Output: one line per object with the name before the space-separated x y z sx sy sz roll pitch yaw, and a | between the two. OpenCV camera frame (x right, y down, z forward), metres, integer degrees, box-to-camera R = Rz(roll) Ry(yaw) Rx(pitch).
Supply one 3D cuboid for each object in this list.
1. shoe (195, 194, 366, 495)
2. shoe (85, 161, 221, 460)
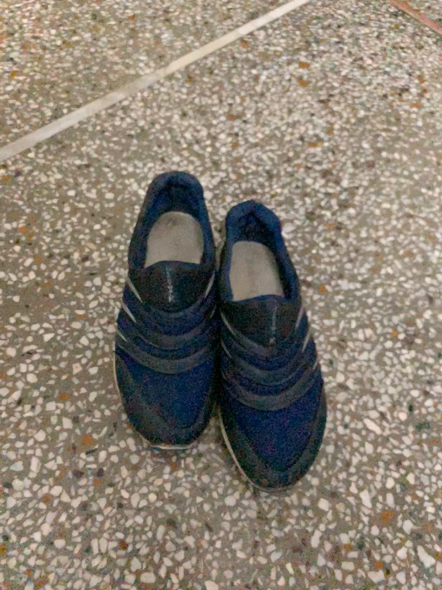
shoe | 0.042 0.042 0.466 0.104 0.096 0.280 -5 64 -8
shoe | -0.061 0.006 0.450 0.104 0.080 0.283 0 63 -5
